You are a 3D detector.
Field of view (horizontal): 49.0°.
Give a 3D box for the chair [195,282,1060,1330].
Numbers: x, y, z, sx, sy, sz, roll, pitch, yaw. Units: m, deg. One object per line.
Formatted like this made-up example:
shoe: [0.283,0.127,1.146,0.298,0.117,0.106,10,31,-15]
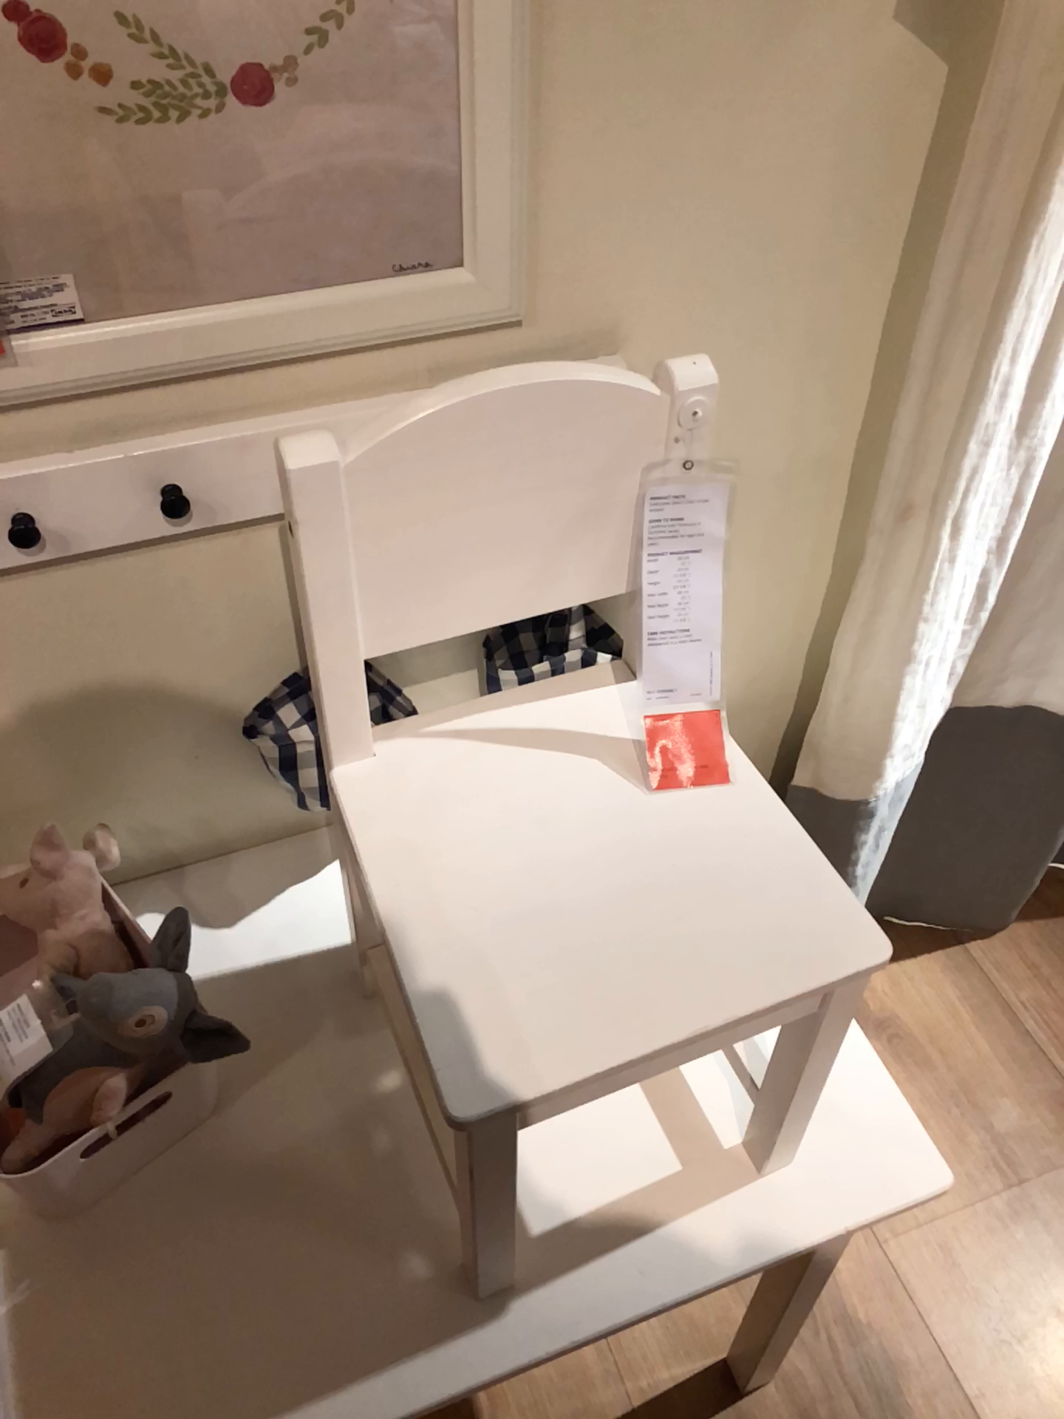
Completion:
chair: [0.019,0.085,0.754,0.300,0.556,0.322,-17,48,-17]
